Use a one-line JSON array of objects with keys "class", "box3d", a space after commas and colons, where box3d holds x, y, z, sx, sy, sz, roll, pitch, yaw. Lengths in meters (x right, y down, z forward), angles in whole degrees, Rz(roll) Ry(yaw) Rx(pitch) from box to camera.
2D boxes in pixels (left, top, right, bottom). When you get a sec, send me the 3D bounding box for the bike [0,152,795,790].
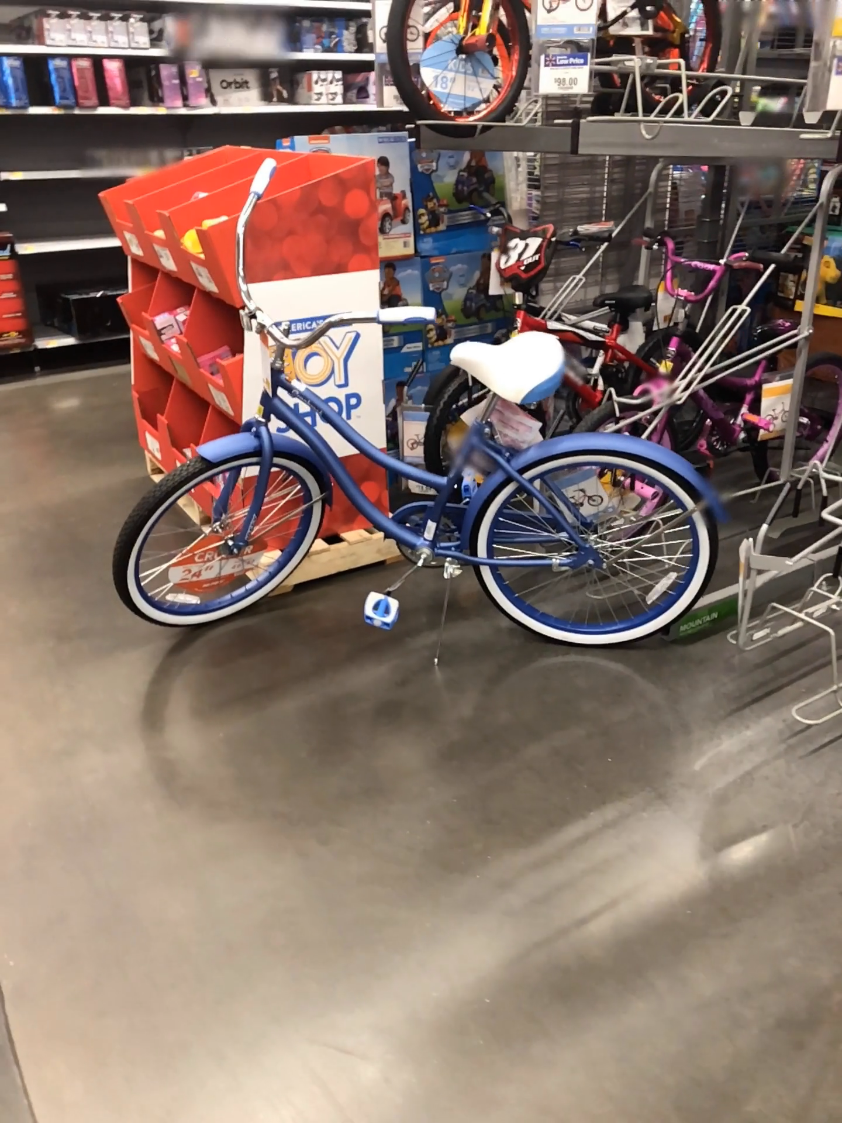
[{"class": "bike", "box3d": [-0.056, -0.242, 2.063, 1.353, 1.114, 0.861, -2, 25, 4]}]
